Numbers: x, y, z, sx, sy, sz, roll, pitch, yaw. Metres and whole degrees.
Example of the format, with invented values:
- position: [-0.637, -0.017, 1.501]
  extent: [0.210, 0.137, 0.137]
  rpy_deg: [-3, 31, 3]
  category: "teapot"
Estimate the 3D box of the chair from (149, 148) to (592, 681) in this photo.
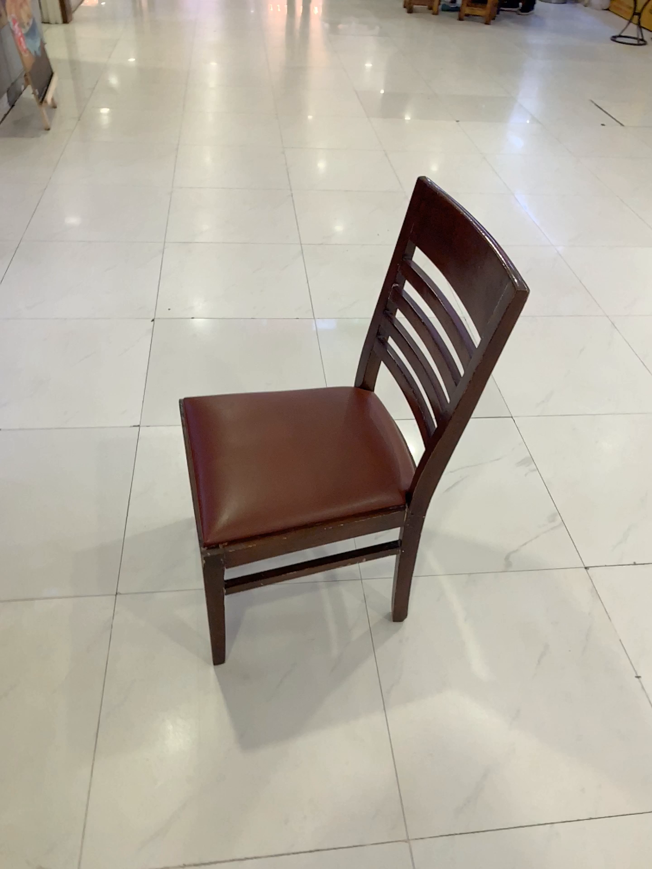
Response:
- position: [-0.005, -0.039, 1.267]
  extent: [0.540, 0.783, 0.564]
  rpy_deg: [-6, 42, -12]
  category: "chair"
